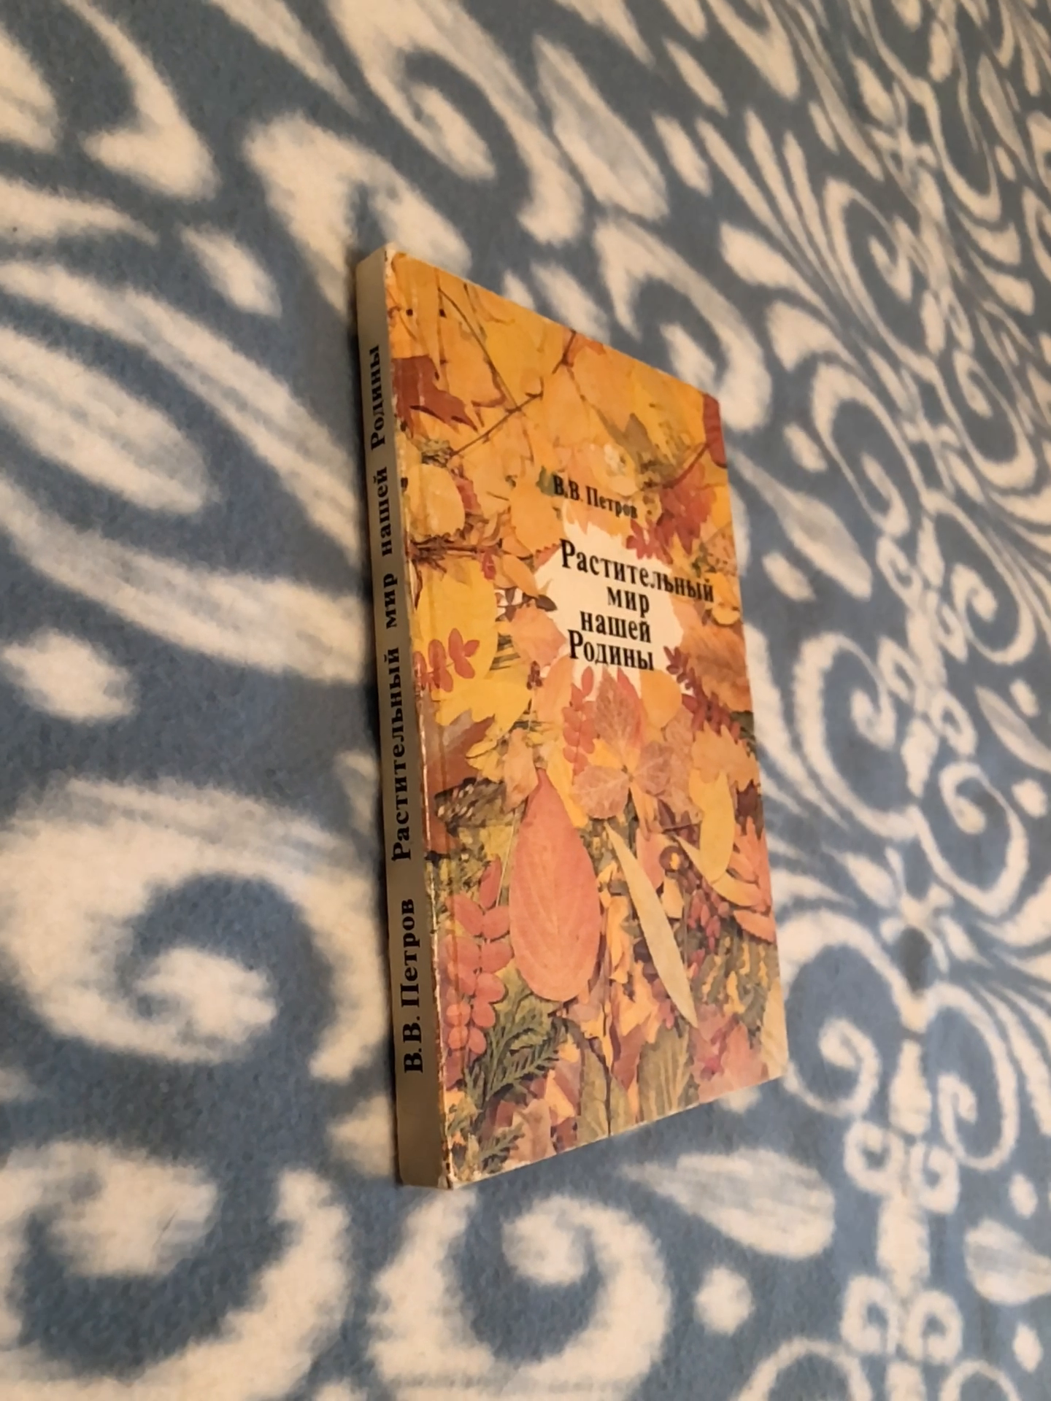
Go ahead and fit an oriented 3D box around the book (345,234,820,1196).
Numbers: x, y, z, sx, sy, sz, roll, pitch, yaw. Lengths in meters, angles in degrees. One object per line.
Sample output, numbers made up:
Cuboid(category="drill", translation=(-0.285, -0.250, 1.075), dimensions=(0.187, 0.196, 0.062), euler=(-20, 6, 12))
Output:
Cuboid(category="book", translation=(0.023, 0.004, 0.316), dimensions=(0.158, 0.020, 0.208), euler=(7, 76, -50))
